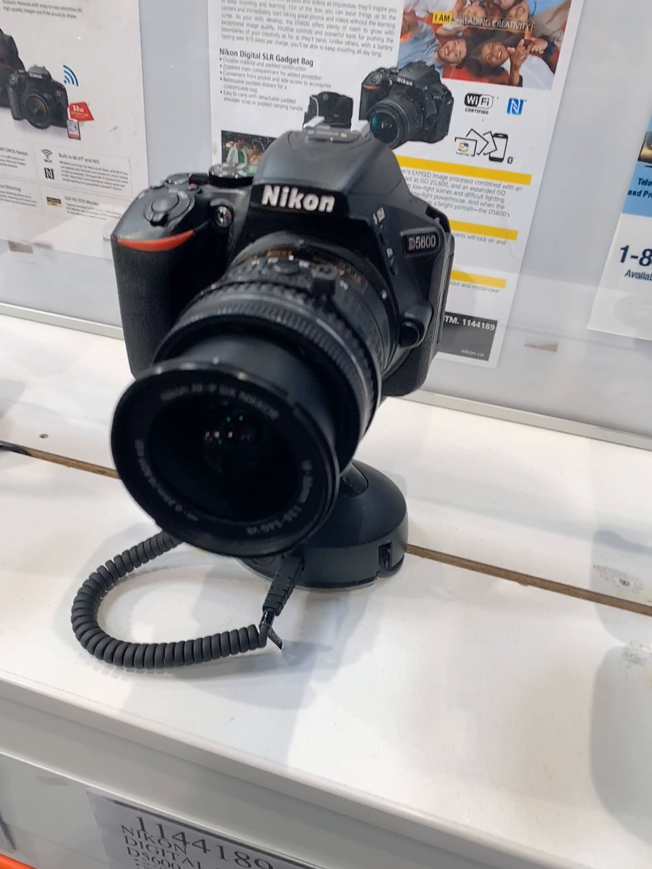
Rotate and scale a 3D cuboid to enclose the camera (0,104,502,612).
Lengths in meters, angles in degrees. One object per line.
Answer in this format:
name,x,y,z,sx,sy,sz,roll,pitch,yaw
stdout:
camera,-0.012,-0.040,0.213,0.111,0.090,0.141,11,35,10
